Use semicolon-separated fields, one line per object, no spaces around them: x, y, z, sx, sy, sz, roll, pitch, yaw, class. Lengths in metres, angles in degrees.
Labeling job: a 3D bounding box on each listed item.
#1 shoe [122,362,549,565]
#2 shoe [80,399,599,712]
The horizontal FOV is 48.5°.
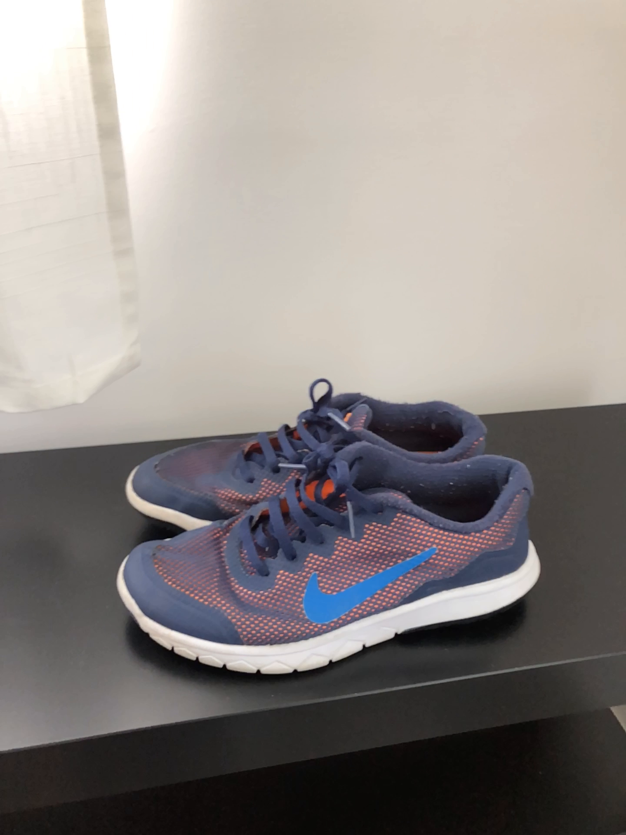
0.010;0.026;0.481;0.260;0.089;0.100;-2;31;-8;shoe
0.007;0.068;0.406;0.260;0.089;0.121;-5;31;-14;shoe
